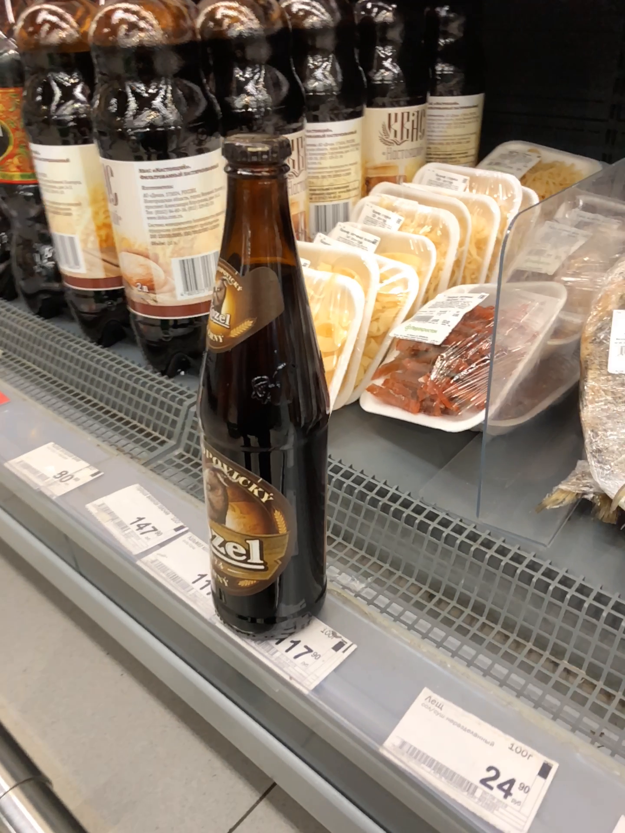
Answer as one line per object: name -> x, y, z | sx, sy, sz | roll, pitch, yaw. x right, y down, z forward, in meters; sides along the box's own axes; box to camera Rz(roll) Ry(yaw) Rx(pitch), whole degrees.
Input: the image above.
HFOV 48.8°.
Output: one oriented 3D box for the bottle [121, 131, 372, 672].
bottle -> -0.026, 0.000, 0.317 | 0.070, 0.231, 0.070 | 0, 31, 0
